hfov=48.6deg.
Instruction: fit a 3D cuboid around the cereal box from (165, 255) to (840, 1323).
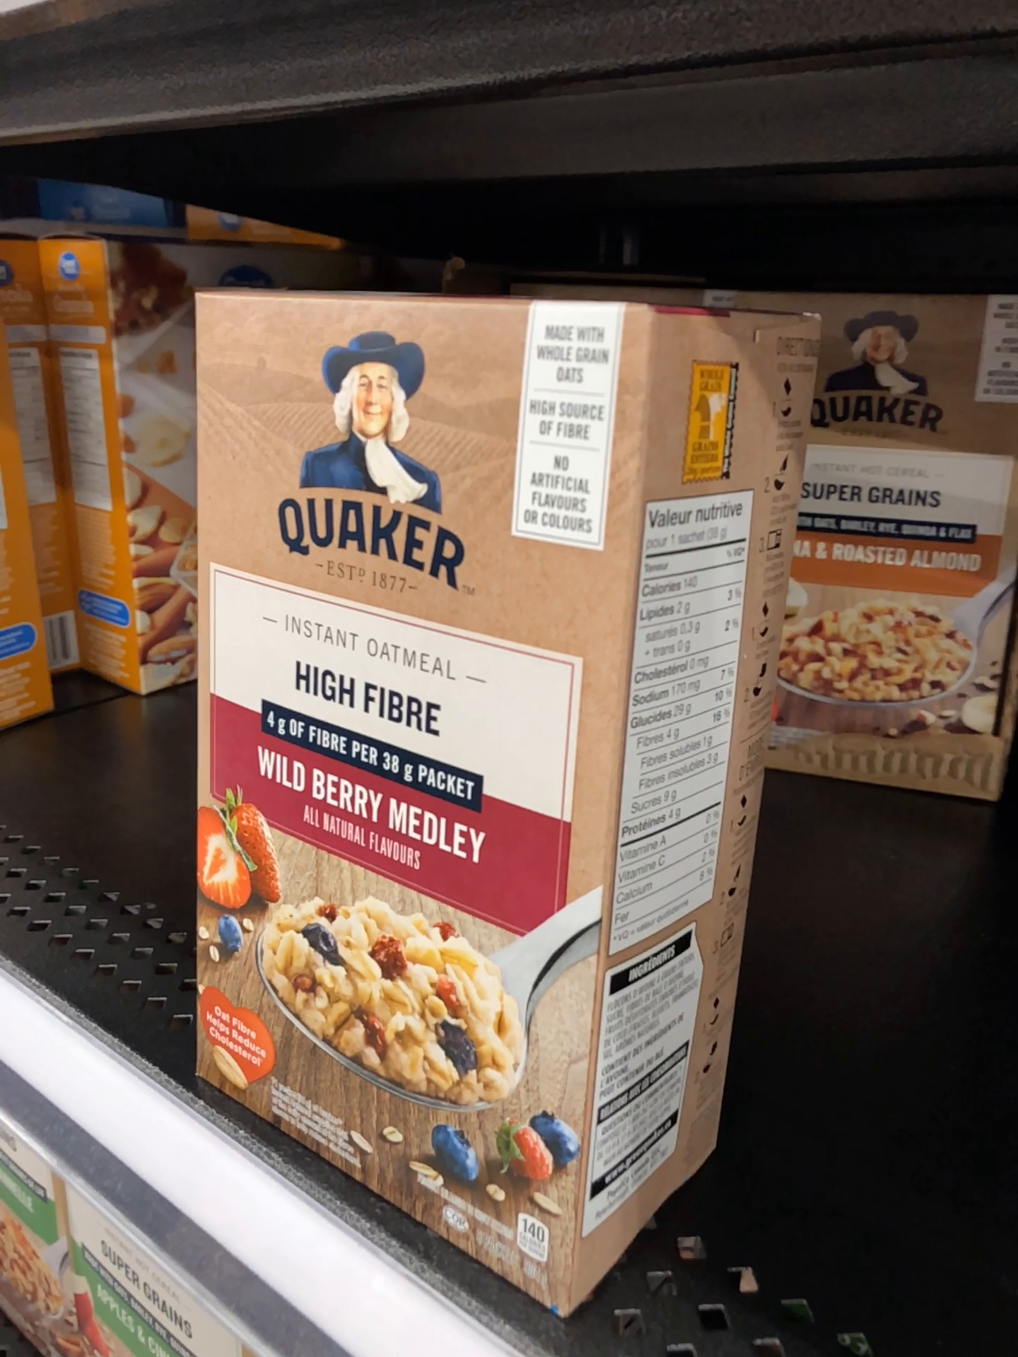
[{"bbox_3d":[-0.012,0.012,0.258,0.130,0.199,0.060,15,19,36],"label":"cereal box"}]
